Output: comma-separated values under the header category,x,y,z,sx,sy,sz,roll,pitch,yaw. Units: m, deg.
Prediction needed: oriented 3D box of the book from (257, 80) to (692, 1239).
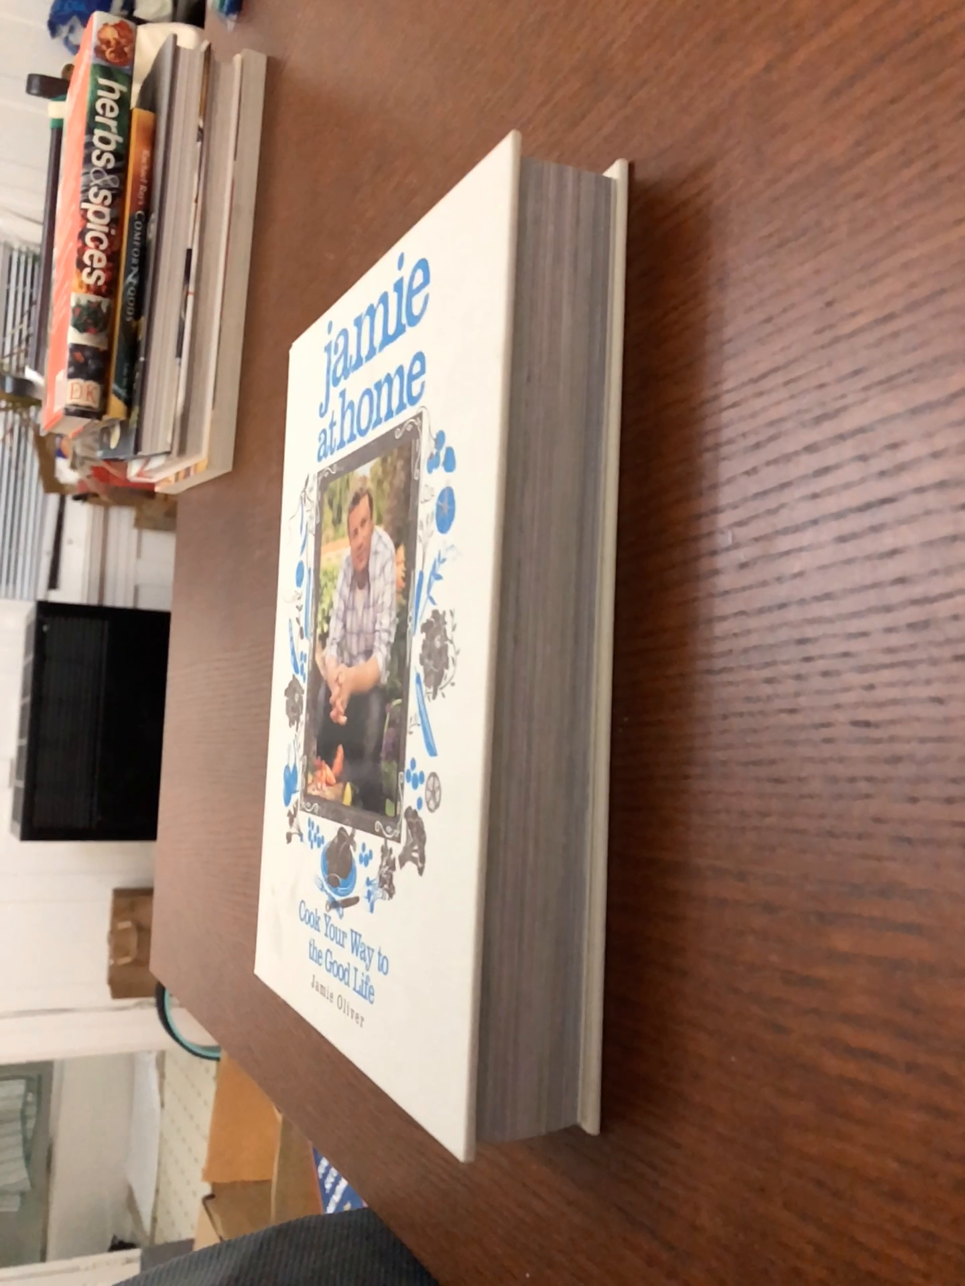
category,x,y,z,sx,sy,sz,roll,pitch,yaw
book,-0.019,0.004,0.342,0.211,0.040,0.260,175,99,-65
